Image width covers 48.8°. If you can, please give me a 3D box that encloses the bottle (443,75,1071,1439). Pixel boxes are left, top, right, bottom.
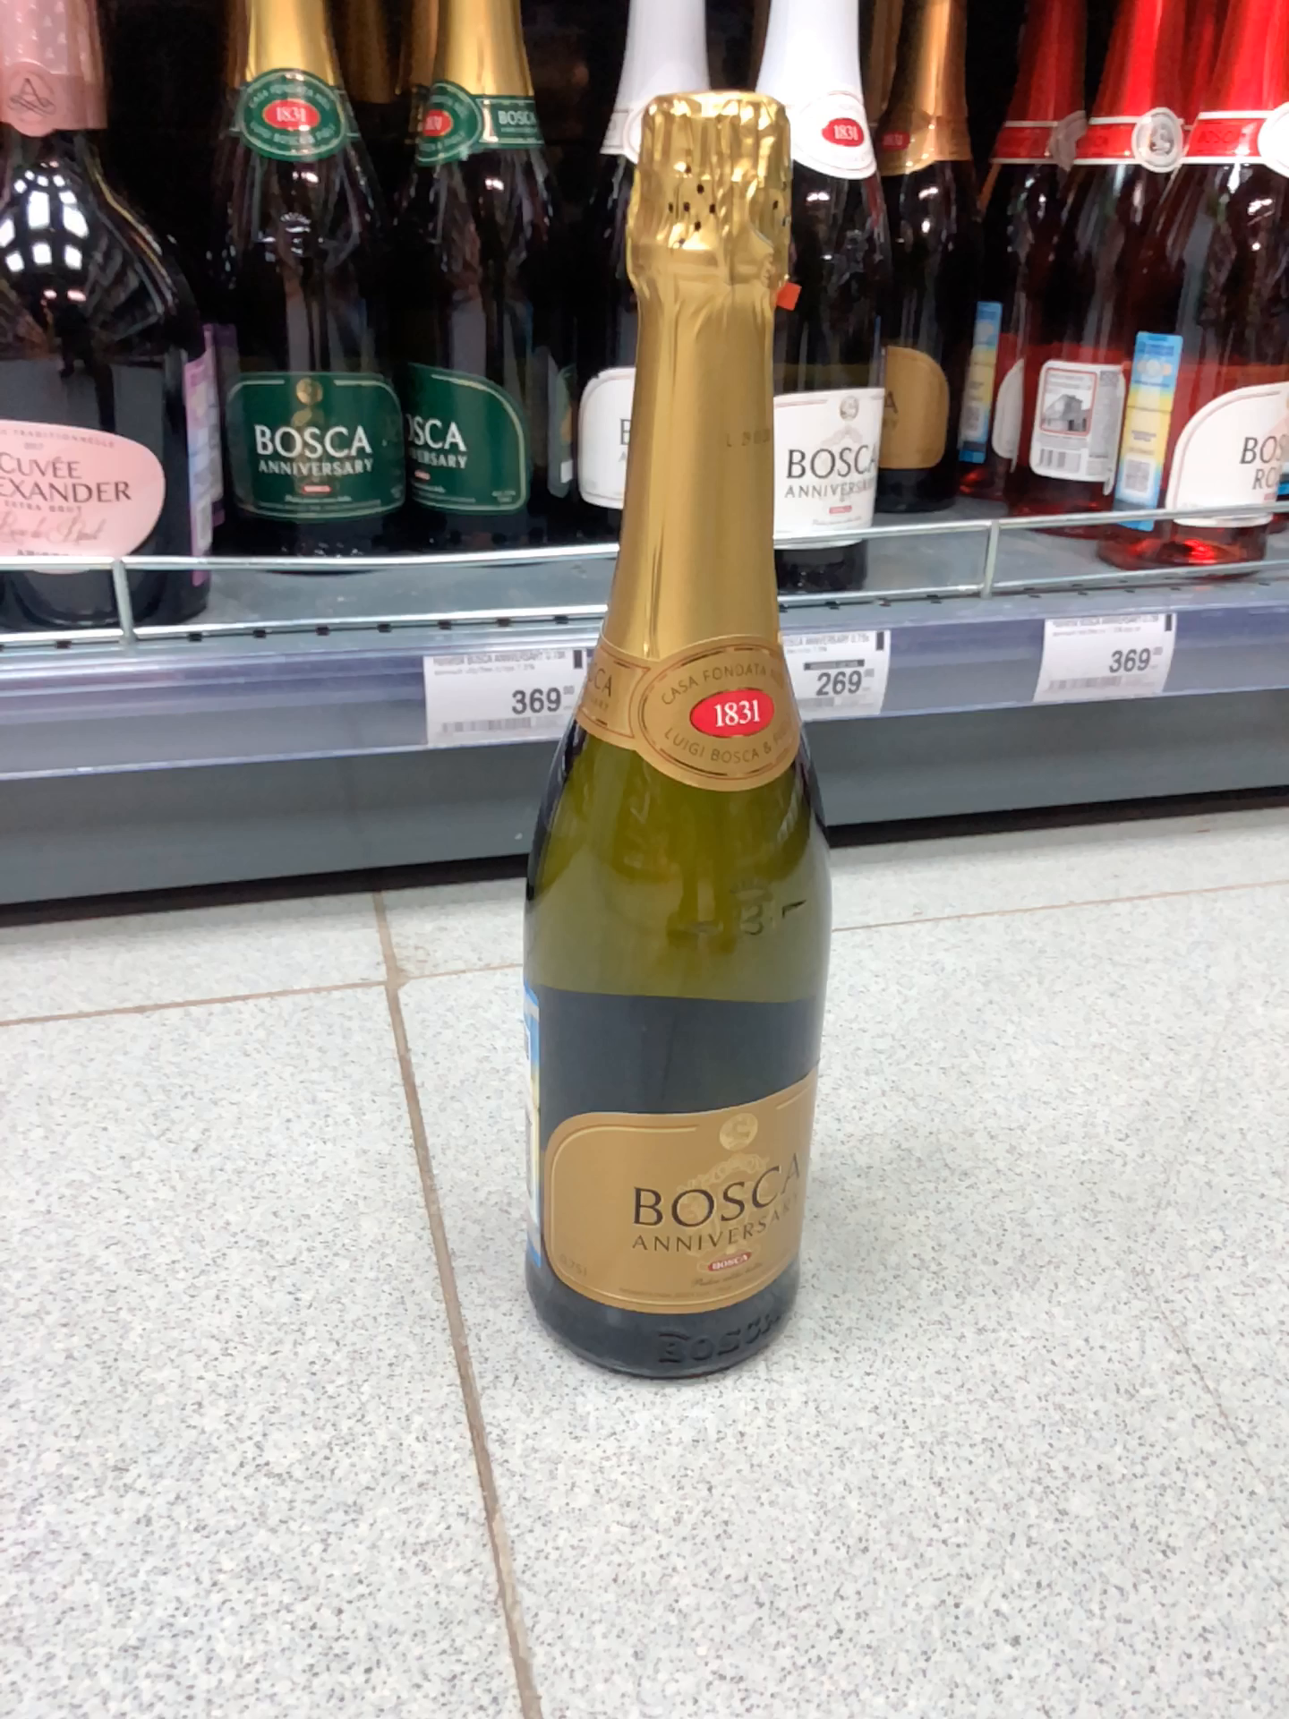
[{"bbox_3d":[0.014,-0.017,0.365,0.100,0.314,0.100,1,25,-1],"label":"bottle"}]
